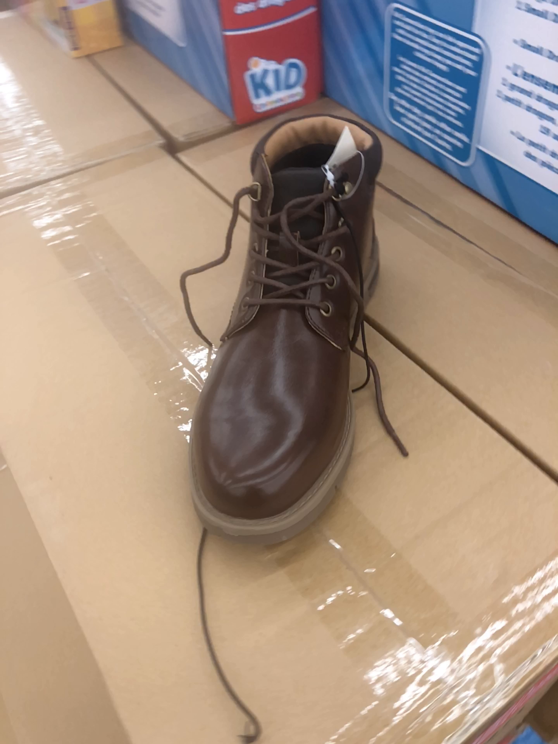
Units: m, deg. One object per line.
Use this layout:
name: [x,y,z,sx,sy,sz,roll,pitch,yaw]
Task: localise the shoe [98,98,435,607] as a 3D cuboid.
shoe: [0.020,-0.033,0.404,0.120,0.159,0.291,8,48,12]
